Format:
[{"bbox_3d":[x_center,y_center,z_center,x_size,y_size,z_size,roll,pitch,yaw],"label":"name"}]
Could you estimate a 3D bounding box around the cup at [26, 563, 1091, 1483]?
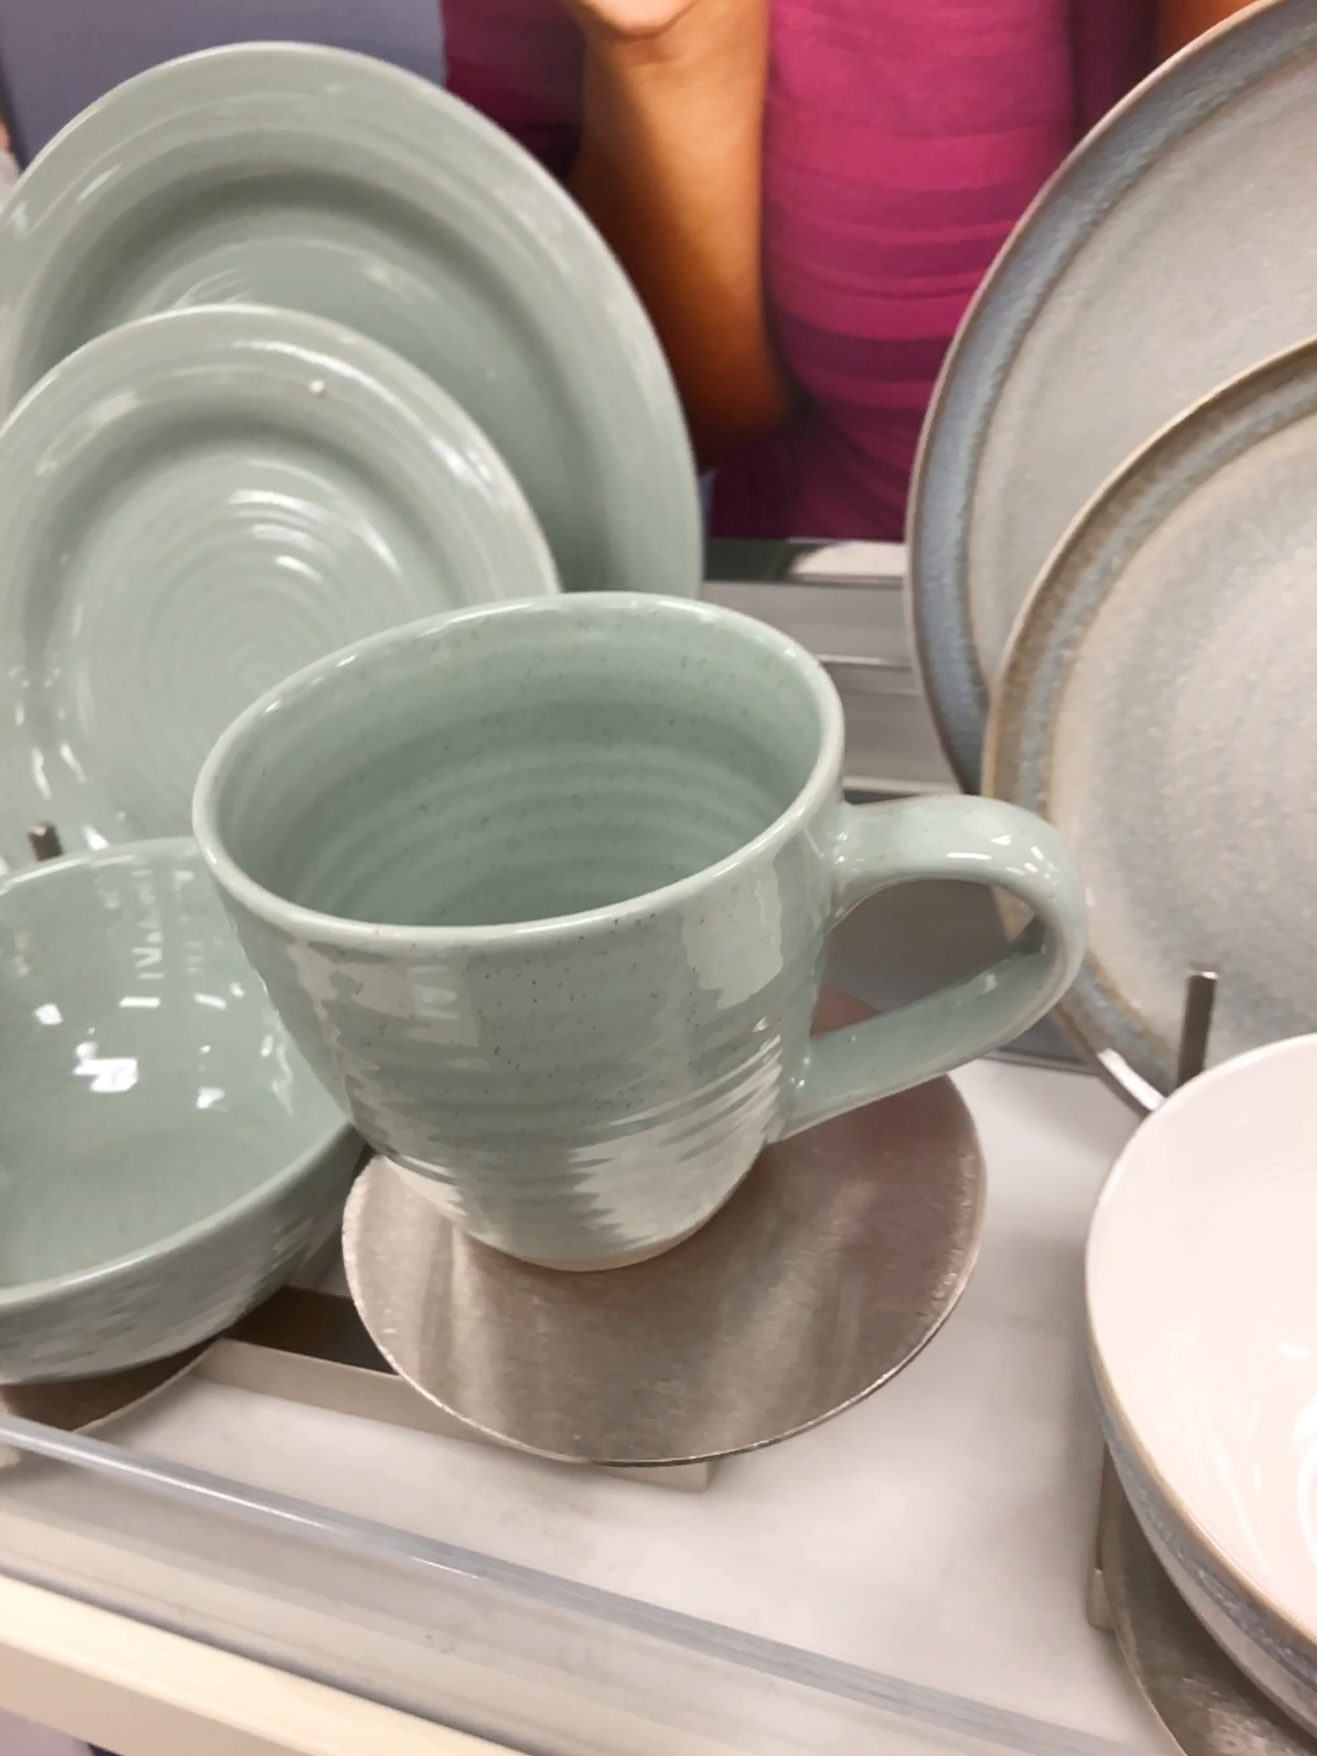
[{"bbox_3d":[-0.002,0.015,0.245,0.129,0.091,0.116,1,36,11],"label":"cup"}]
